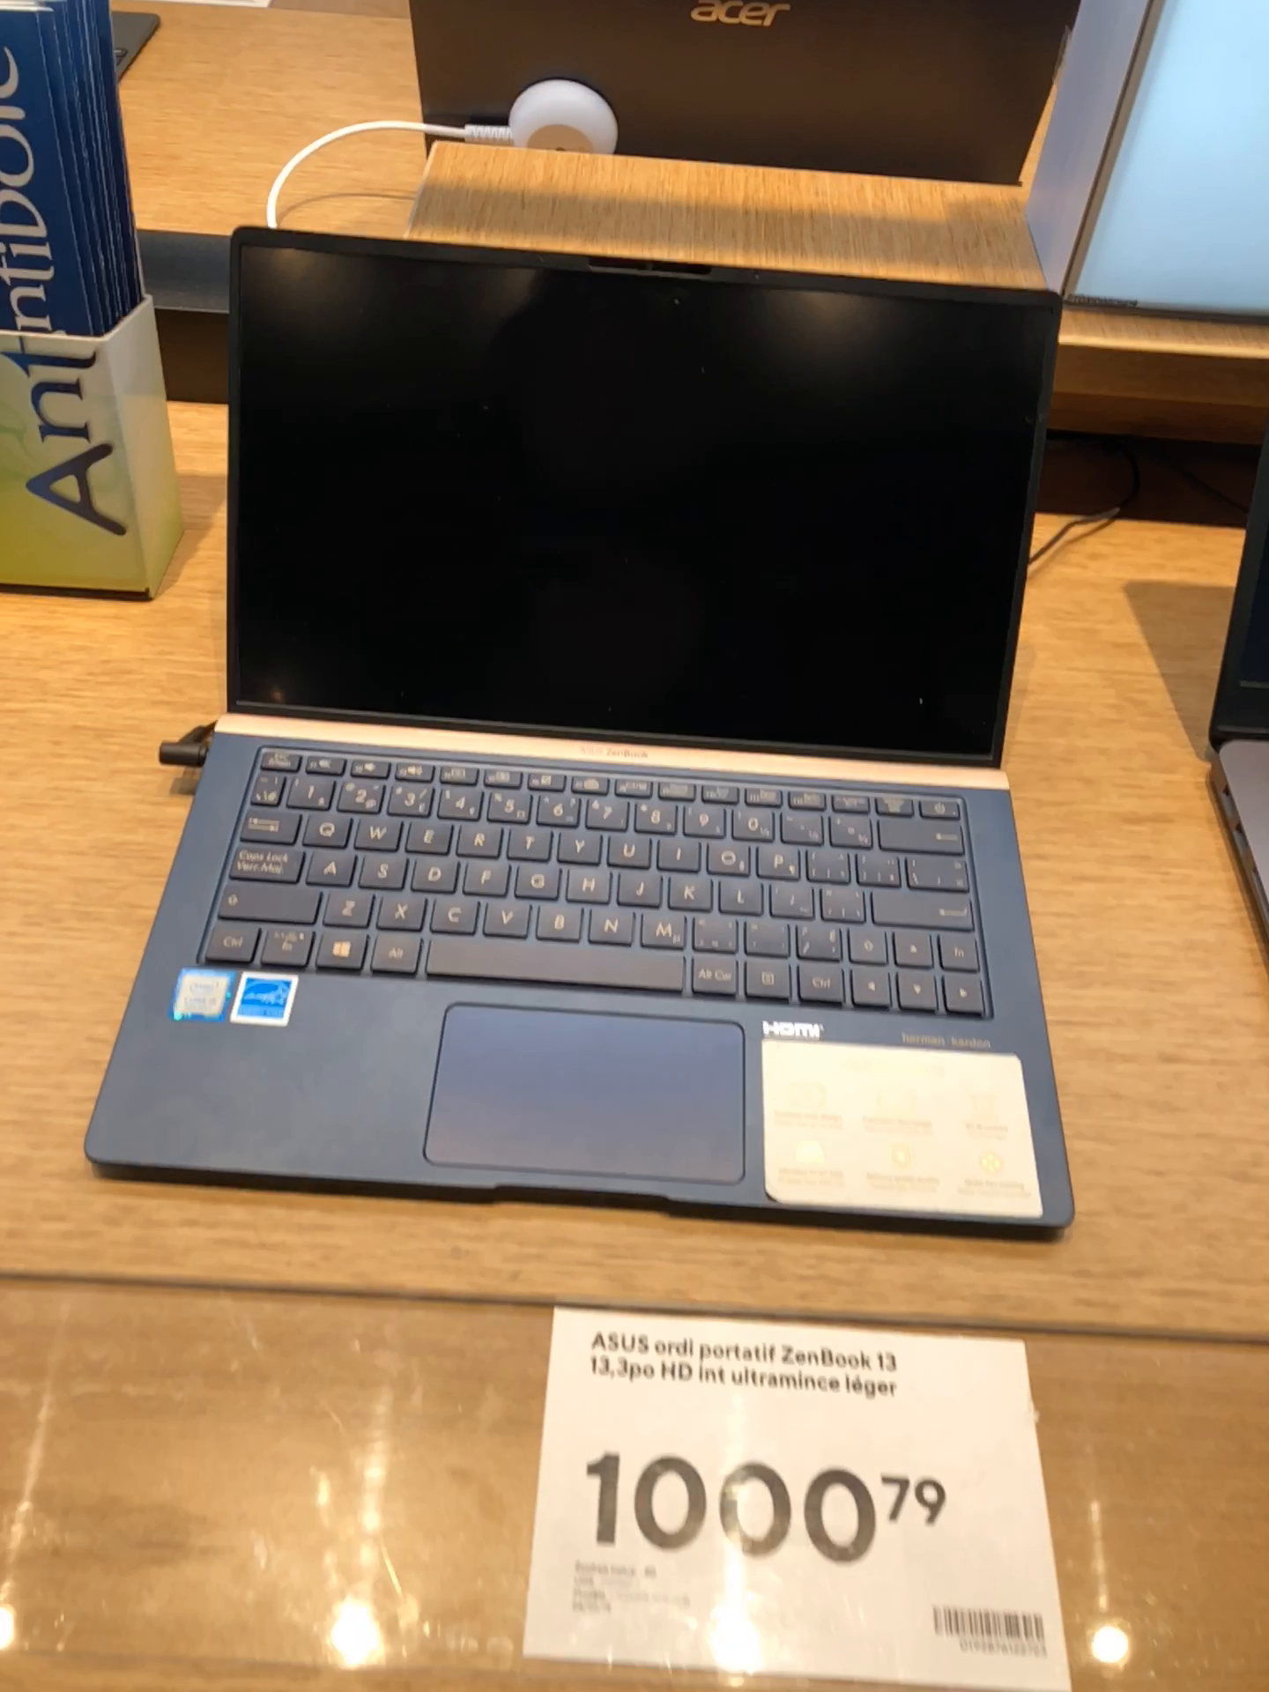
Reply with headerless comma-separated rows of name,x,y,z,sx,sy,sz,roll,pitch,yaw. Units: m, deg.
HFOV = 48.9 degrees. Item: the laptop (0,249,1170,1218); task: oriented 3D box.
laptop,-0.007,-0.049,0.451,0.276,0.130,0.277,4,52,1
